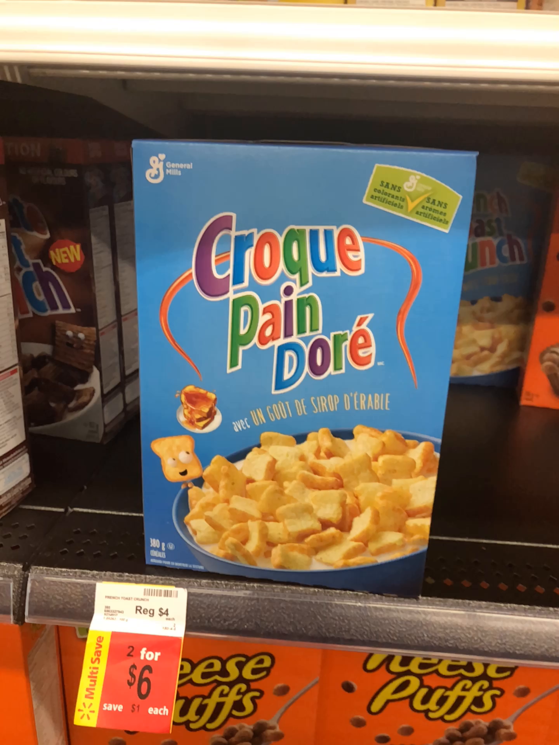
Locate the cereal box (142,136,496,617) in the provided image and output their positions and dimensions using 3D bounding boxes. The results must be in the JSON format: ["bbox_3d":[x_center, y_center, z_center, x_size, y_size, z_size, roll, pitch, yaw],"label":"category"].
[{"bbox_3d":[0.016,0.005,0.419,0.200,0.299,0.060,5,17,8],"label":"cereal box"}]
